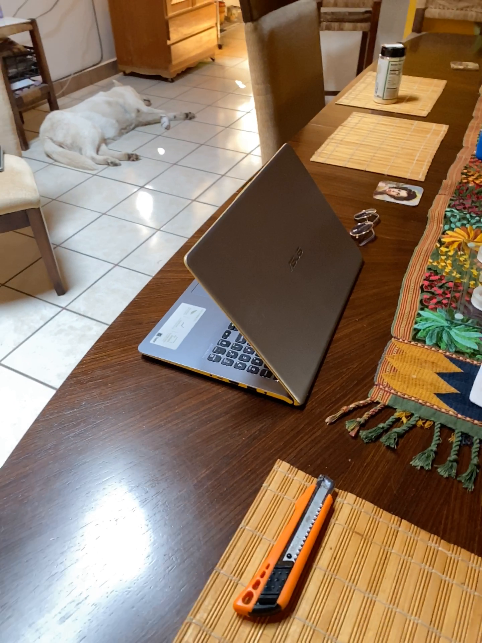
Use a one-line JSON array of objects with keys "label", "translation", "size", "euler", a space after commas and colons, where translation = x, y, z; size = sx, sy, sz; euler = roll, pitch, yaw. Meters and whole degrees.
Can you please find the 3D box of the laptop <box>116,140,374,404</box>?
[{"label": "laptop", "translation": [0.030, -0.107, 0.765], "size": [0.250, 0.181, 0.378], "euler": [15, 44, 17]}]
